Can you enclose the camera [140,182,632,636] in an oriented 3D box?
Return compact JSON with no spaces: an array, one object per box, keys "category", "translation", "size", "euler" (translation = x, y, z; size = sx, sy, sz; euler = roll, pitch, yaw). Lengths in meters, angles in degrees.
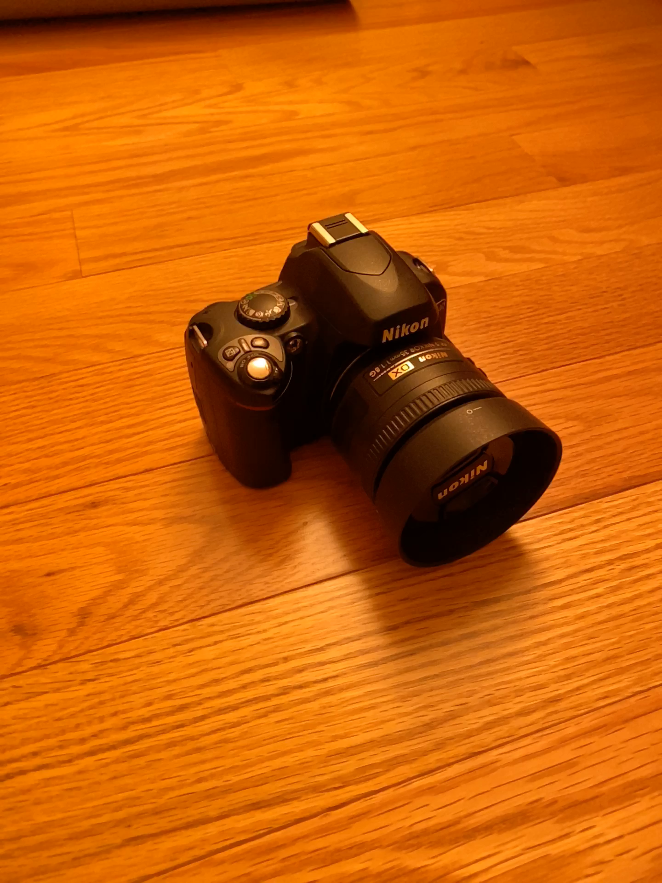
[{"category":"camera","translation":[0.013,-0.024,0.285],"size":[0.130,0.080,0.141],"euler":[-22,52,-17]}]
